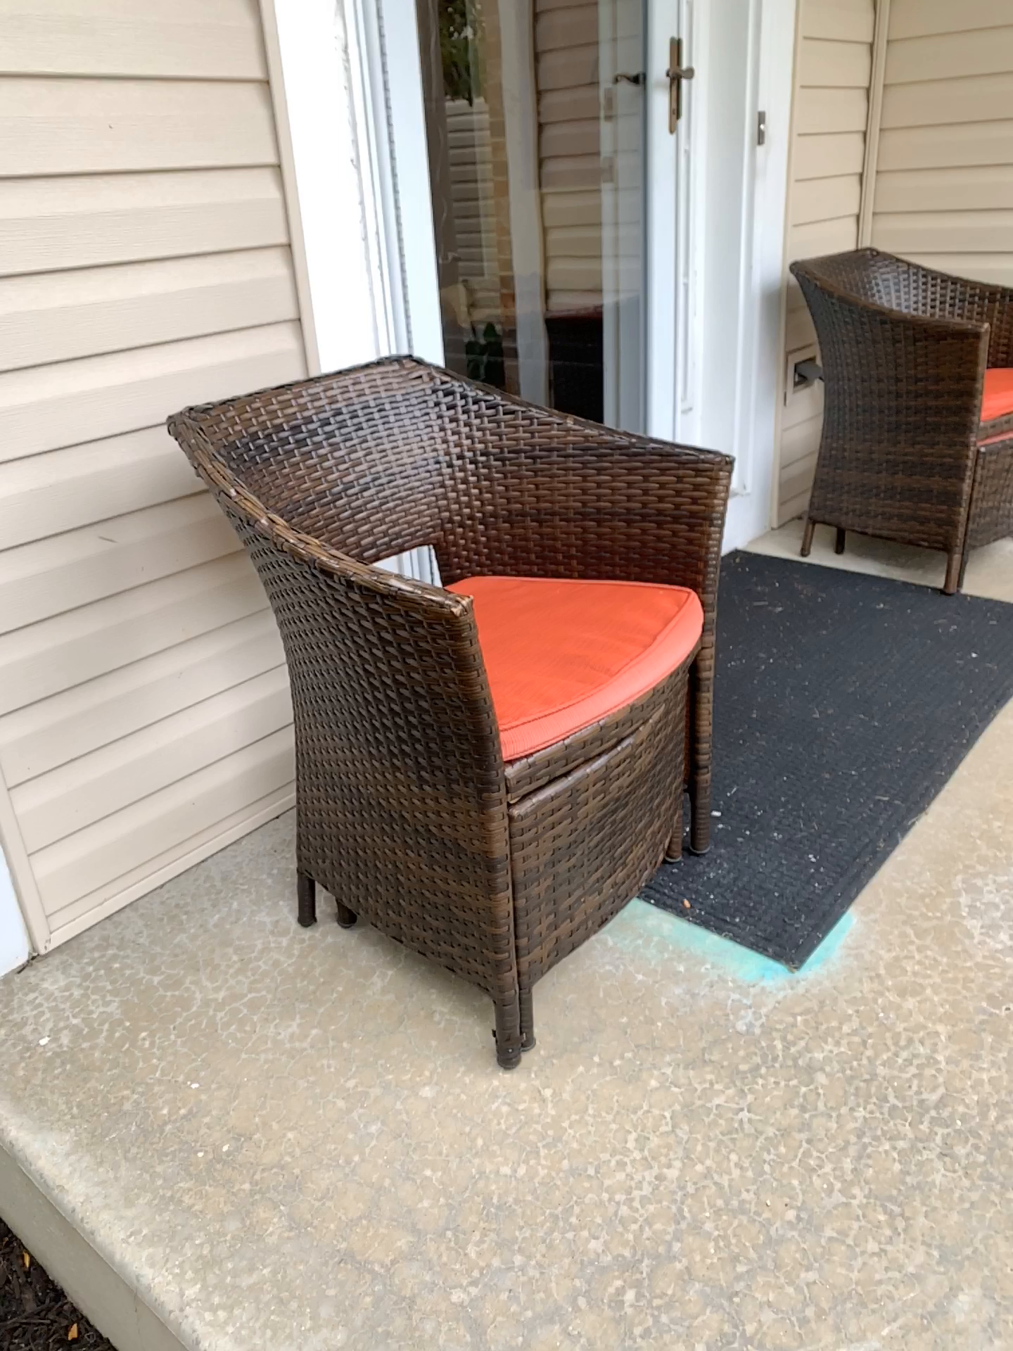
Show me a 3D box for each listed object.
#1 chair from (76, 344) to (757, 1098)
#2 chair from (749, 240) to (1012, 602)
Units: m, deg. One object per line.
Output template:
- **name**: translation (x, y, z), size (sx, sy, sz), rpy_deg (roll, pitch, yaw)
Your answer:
- **chair**: translation (-0.066, -0.023, 1.481), size (0.605, 0.758, 0.645), rpy_deg (13, 29, 32)
- **chair**: translation (1.088, -0.709, 2.739), size (0.606, 0.758, 0.644), rpy_deg (18, 32, 39)
